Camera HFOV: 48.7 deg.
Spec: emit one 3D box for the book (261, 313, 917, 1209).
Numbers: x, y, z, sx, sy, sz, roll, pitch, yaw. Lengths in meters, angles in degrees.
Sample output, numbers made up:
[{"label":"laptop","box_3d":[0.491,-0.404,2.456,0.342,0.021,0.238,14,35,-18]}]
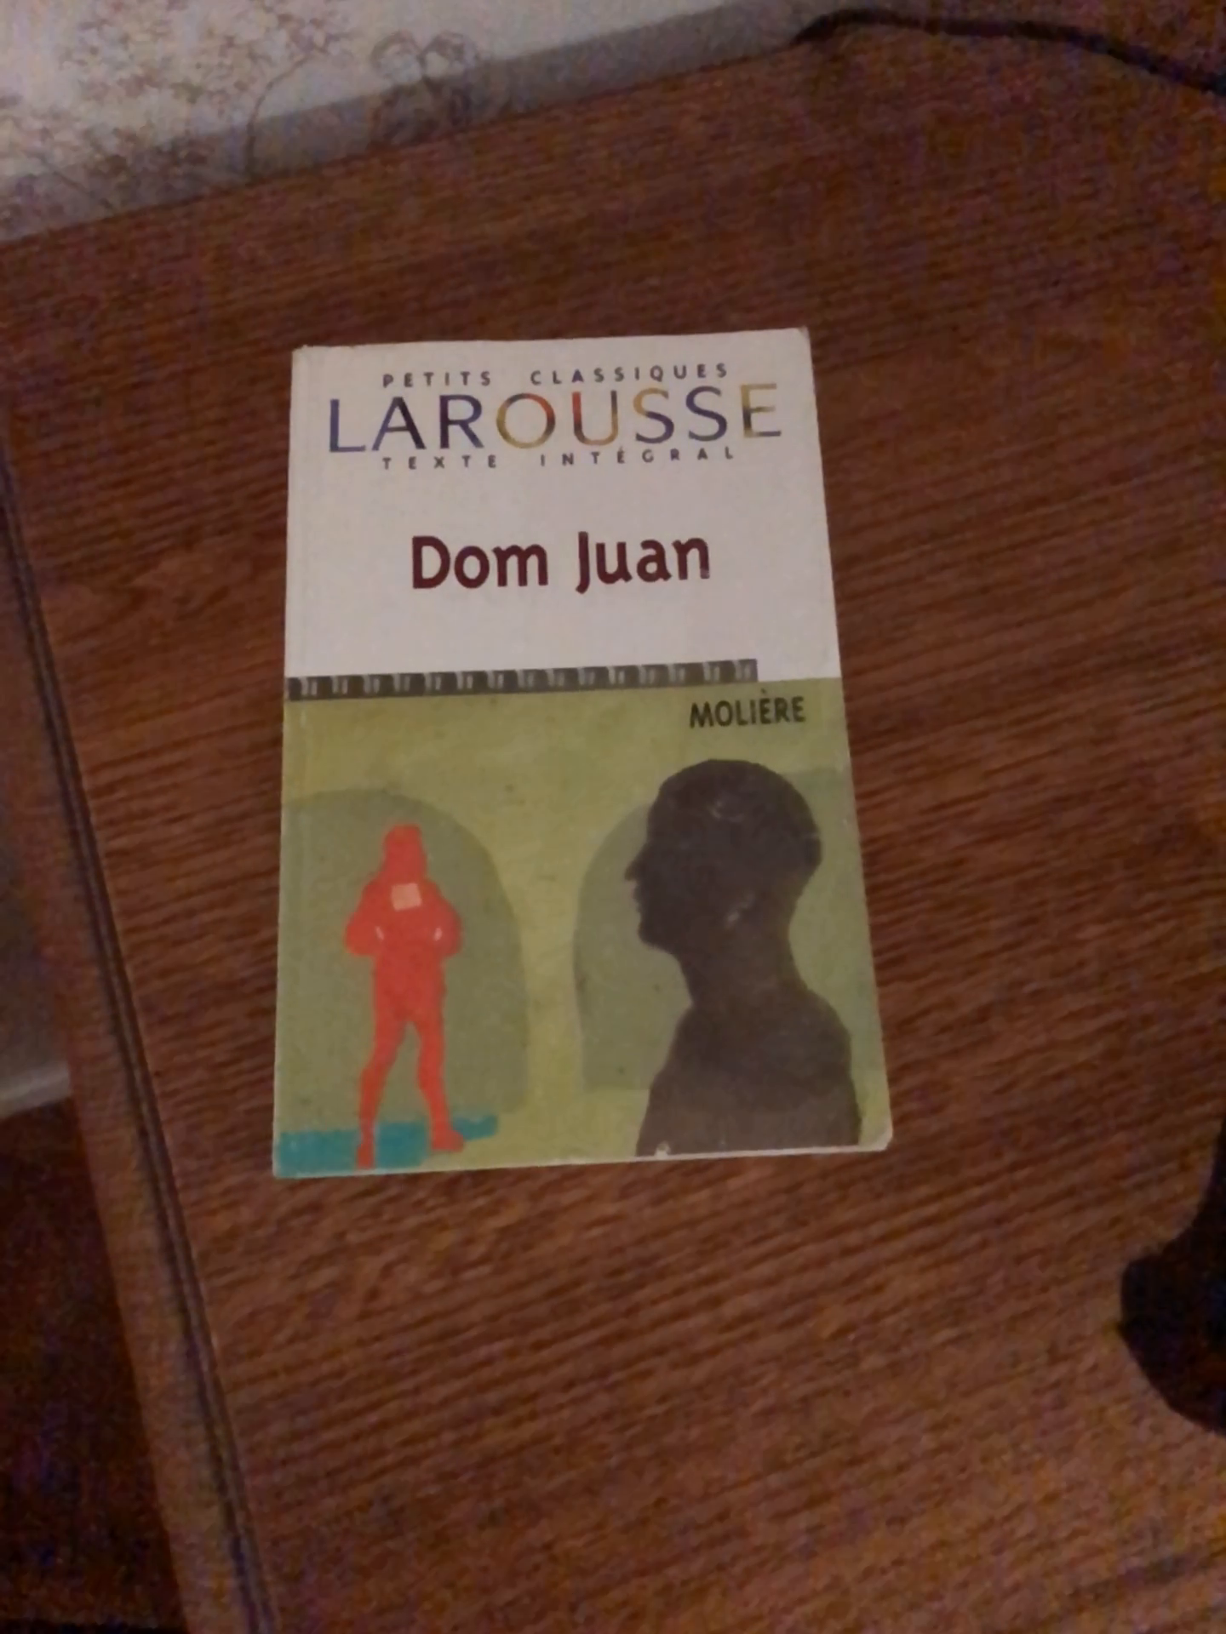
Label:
[{"label":"book","box_3d":[-0.008,-0.019,0.268,0.115,0.010,0.180,-2,73,-2]}]
